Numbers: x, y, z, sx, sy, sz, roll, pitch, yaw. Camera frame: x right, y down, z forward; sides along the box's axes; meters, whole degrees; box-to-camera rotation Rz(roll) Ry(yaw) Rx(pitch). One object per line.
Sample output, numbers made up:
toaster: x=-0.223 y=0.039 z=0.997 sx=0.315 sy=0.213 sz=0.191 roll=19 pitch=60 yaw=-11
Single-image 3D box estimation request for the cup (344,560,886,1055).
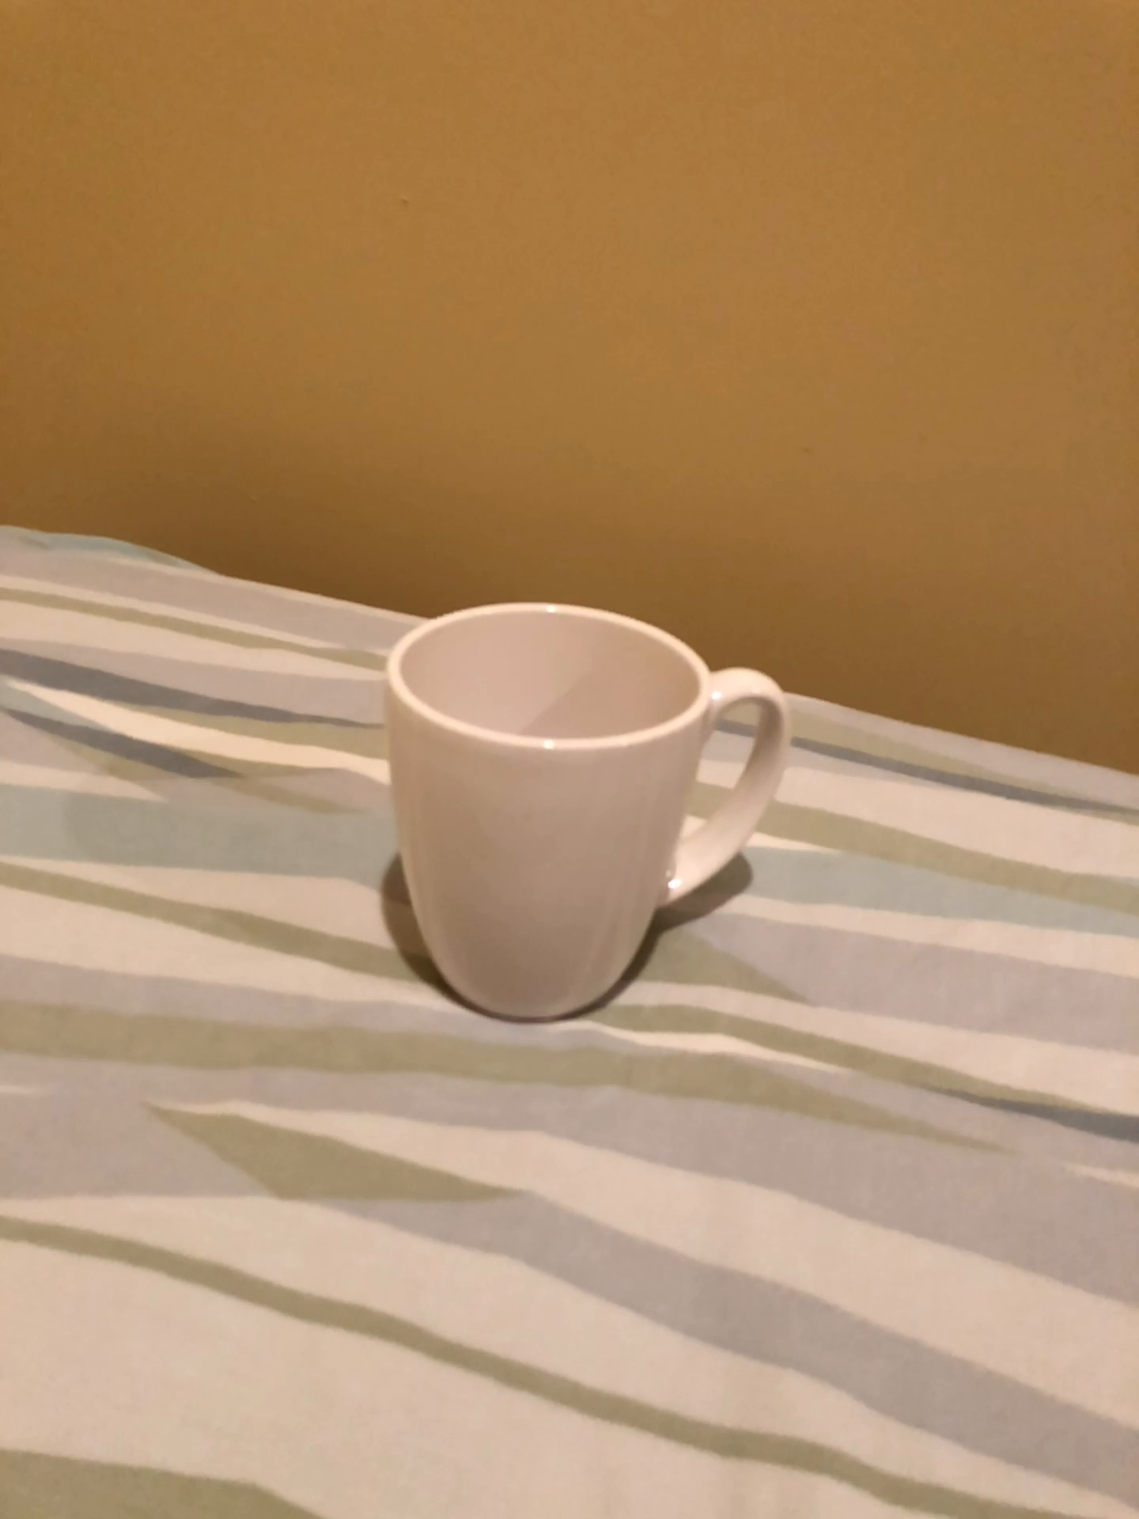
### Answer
cup: x=0.006 y=0.007 z=0.358 sx=0.120 sy=0.090 sz=0.090 roll=-9 pitch=33 yaw=-21
